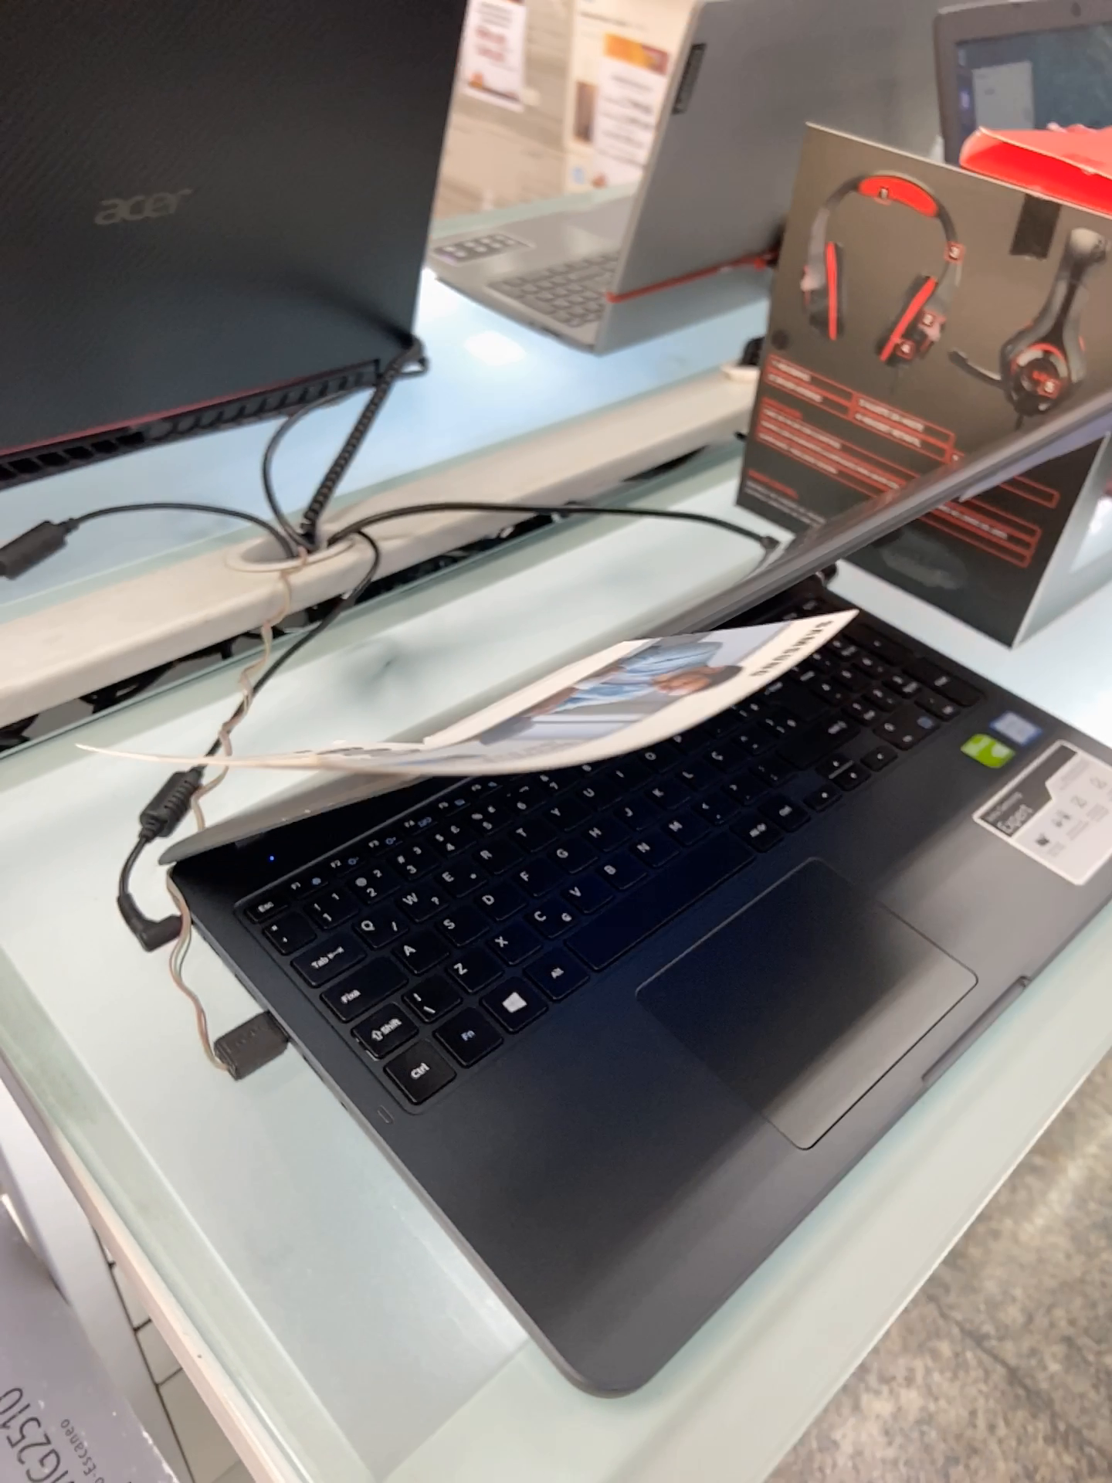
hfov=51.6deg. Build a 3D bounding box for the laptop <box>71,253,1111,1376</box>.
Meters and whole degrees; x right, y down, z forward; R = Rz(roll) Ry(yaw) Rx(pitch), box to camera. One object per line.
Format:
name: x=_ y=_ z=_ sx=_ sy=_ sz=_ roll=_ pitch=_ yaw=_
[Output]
laptop: x=0.073 y=-0.027 z=0.424 sx=0.373 sy=0.170 sz=0.237 roll=-28 pitch=50 yaw=-33
